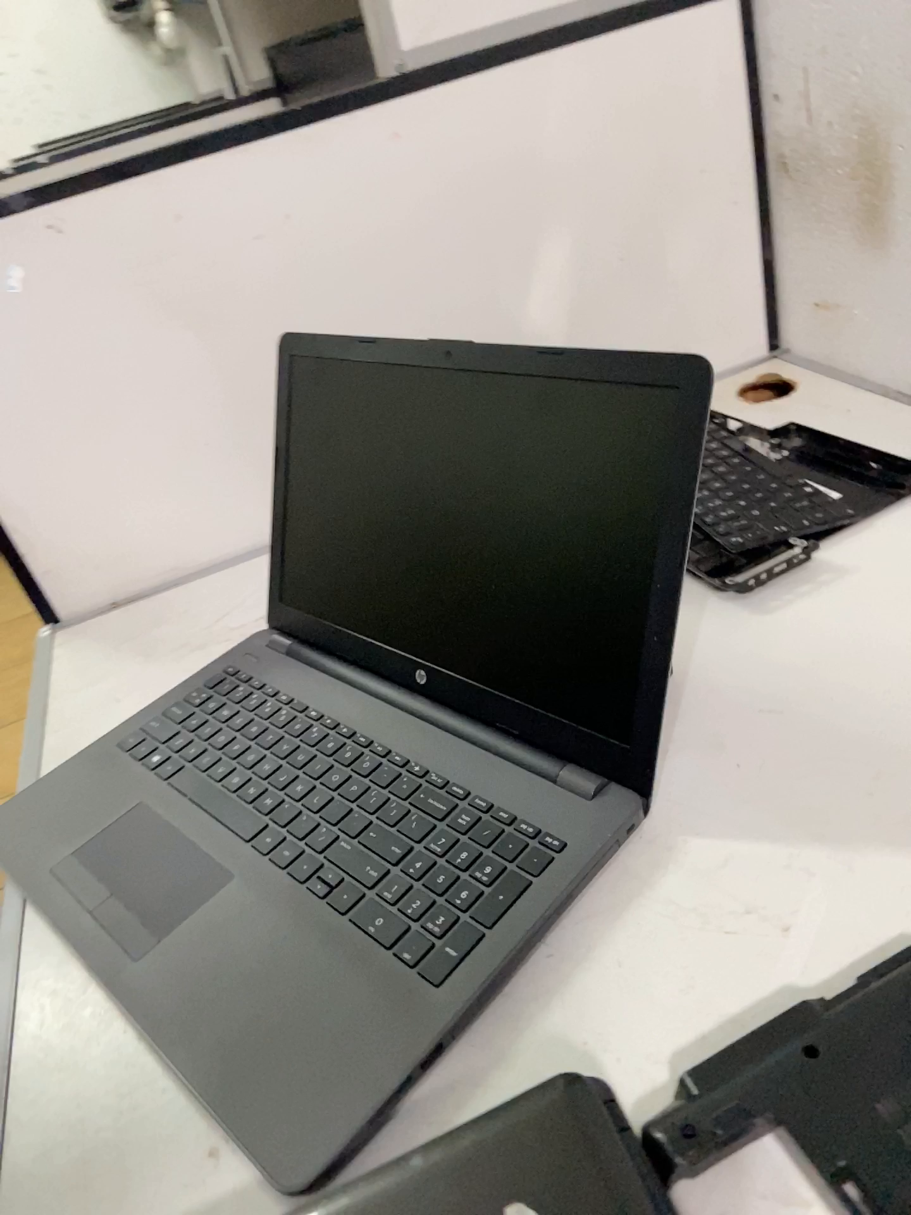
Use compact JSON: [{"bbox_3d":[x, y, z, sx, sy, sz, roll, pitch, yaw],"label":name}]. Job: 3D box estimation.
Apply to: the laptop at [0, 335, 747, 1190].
[{"bbox_3d":[-0.102,0.014,0.555,0.381,0.206,0.365,18,46,43],"label":"laptop"}]
